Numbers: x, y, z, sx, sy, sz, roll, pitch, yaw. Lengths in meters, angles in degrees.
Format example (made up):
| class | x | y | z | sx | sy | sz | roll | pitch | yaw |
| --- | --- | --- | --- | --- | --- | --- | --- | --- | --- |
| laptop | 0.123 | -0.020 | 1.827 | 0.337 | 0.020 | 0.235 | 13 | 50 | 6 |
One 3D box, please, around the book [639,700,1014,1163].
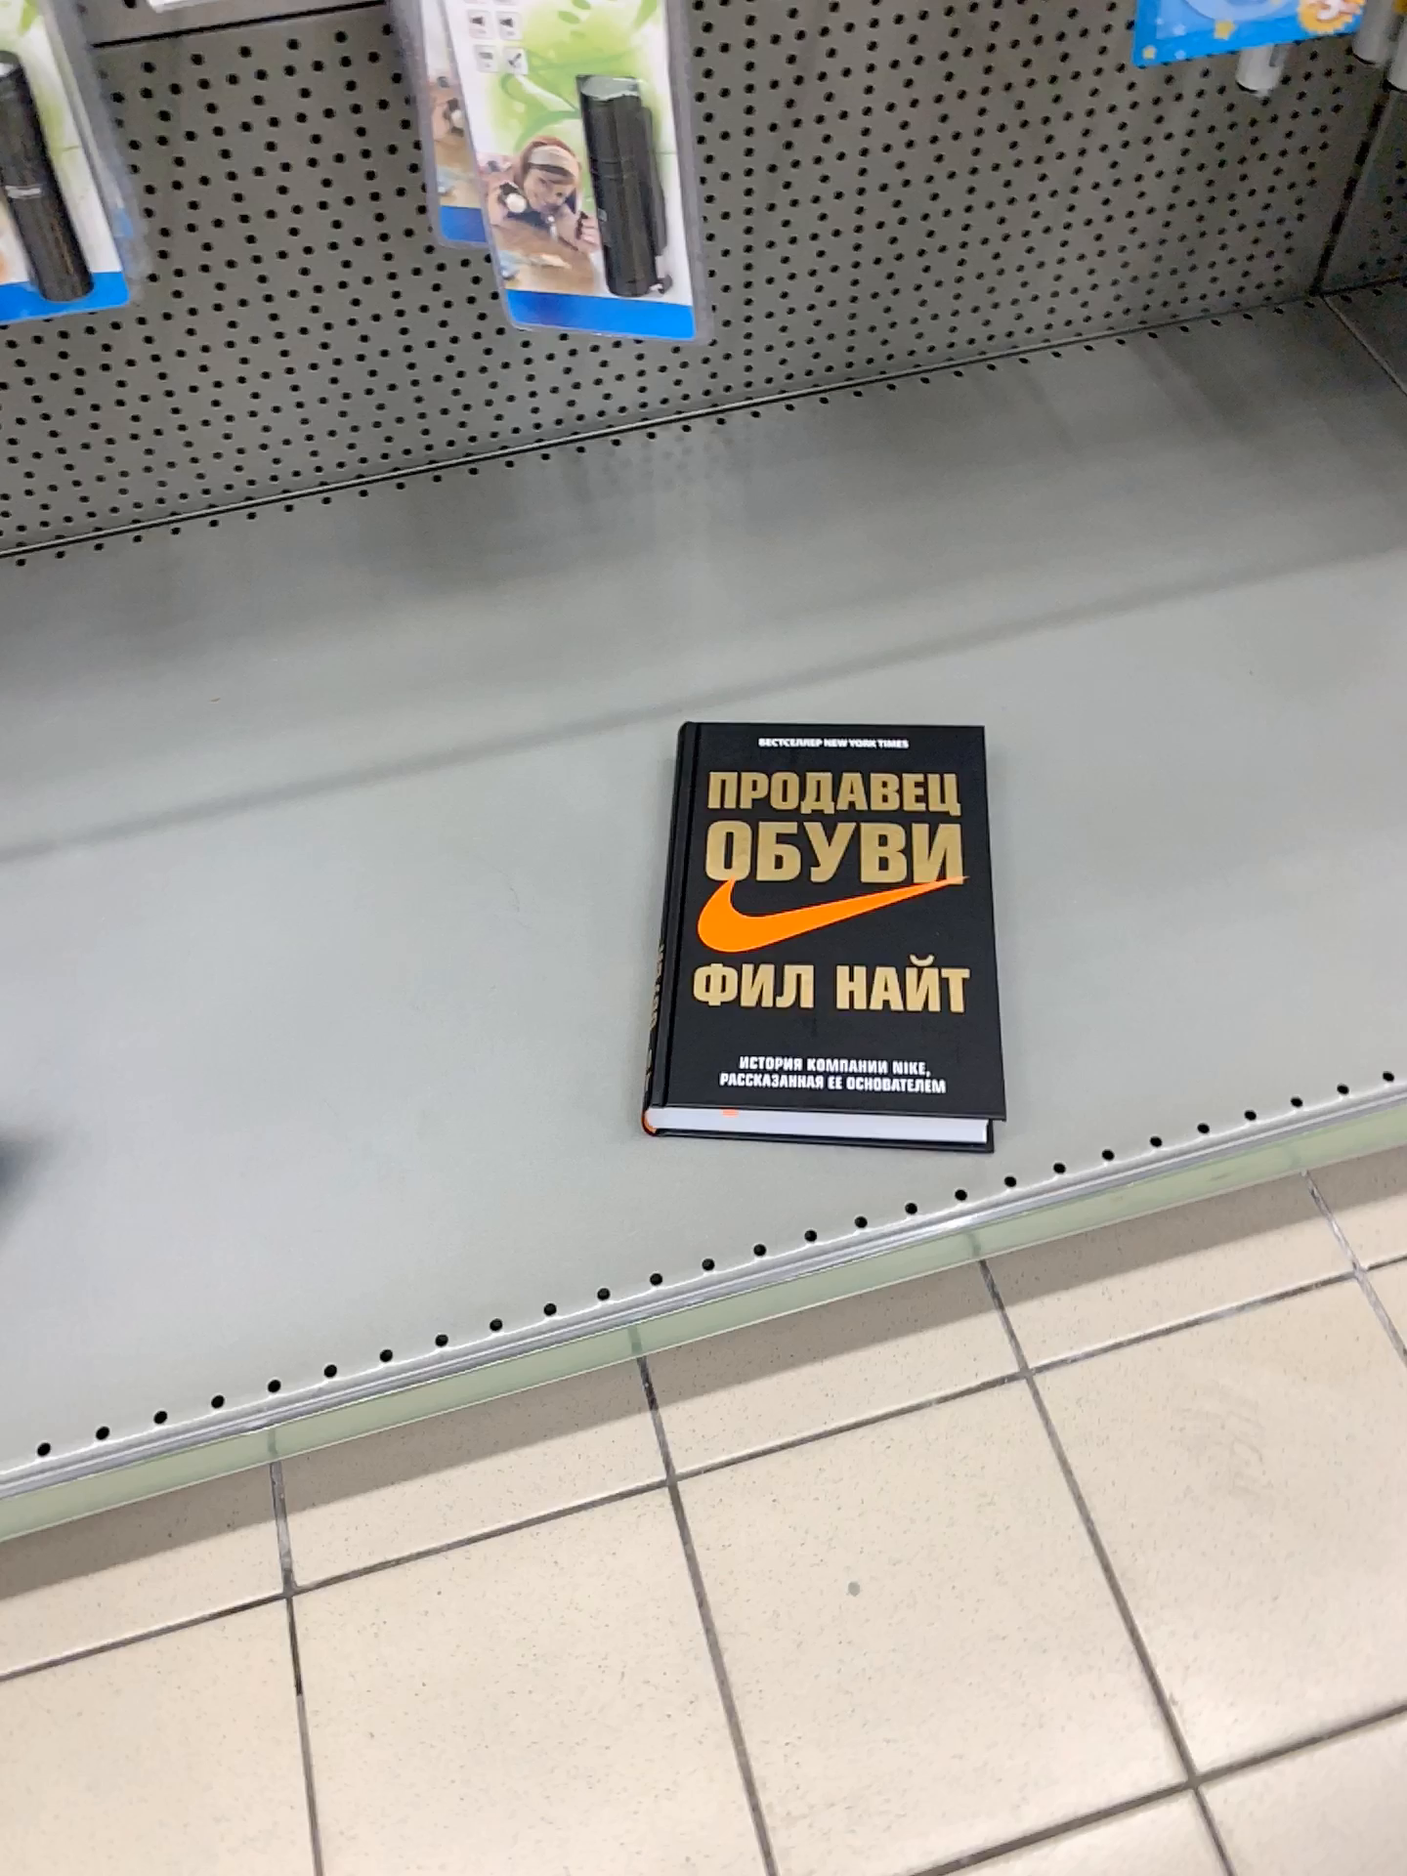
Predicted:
| class | x | y | z | sx | sy | sz | roll | pitch | yaw |
| --- | --- | --- | --- | --- | --- | --- | --- | --- | --- |
| book | 0.065 | -0.012 | 0.740 | 0.170 | 0.042 | 0.251 | 3 | 56 | 3 |
